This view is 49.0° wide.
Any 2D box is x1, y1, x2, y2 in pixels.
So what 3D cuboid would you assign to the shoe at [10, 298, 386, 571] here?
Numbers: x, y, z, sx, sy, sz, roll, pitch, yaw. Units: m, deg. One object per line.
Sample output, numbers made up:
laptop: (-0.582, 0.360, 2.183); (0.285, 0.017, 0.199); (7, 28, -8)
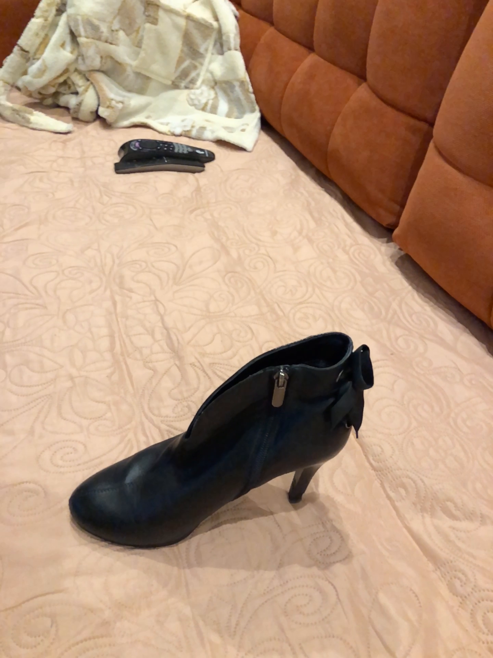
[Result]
shoe: (-0.034, 0.079, 0.406); (0.220, 0.169, 0.096); (-4, 41, -9)
